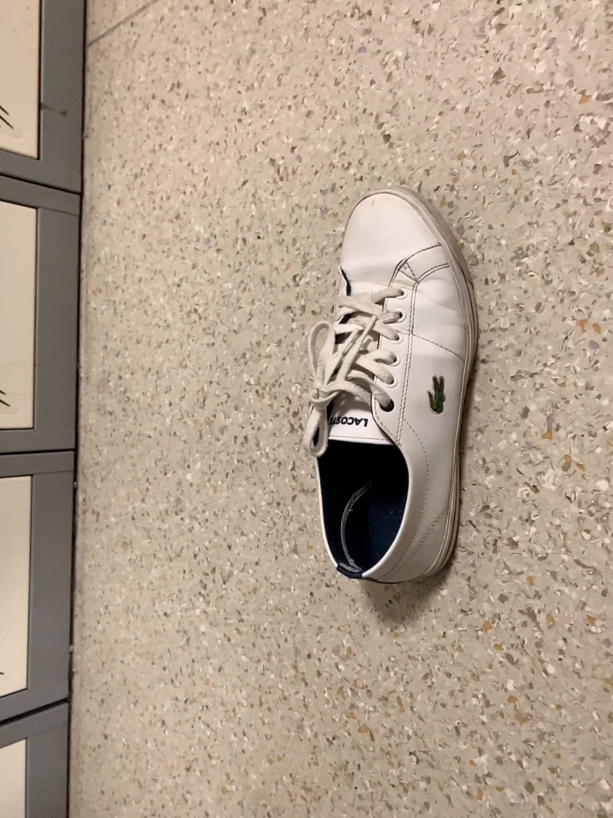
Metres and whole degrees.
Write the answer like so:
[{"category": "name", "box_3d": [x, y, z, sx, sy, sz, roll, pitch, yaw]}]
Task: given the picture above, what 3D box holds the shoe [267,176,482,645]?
[{"category": "shoe", "box_3d": [0.043, 0.000, 0.403, 0.101, 0.089, 0.250, 1, 91, 44]}]
